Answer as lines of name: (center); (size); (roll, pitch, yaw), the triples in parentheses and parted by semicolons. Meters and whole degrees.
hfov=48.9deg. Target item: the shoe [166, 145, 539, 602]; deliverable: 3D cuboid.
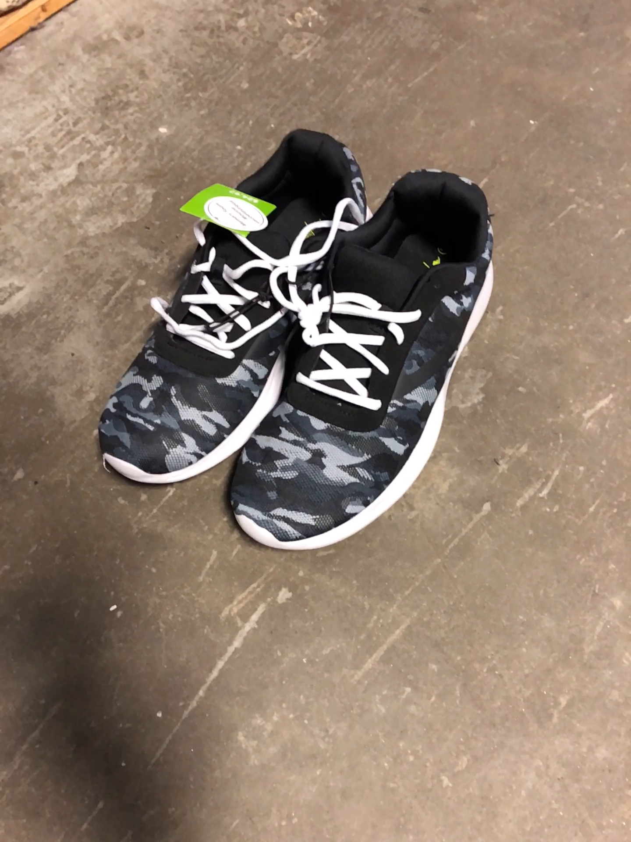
shoe: (0.036, -0.037, 0.480); (0.120, 0.139, 0.261); (24, 63, 17)

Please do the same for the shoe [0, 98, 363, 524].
shoe: (-0.074, -0.084, 0.506); (0.110, 0.139, 0.261); (24, 63, 17)
